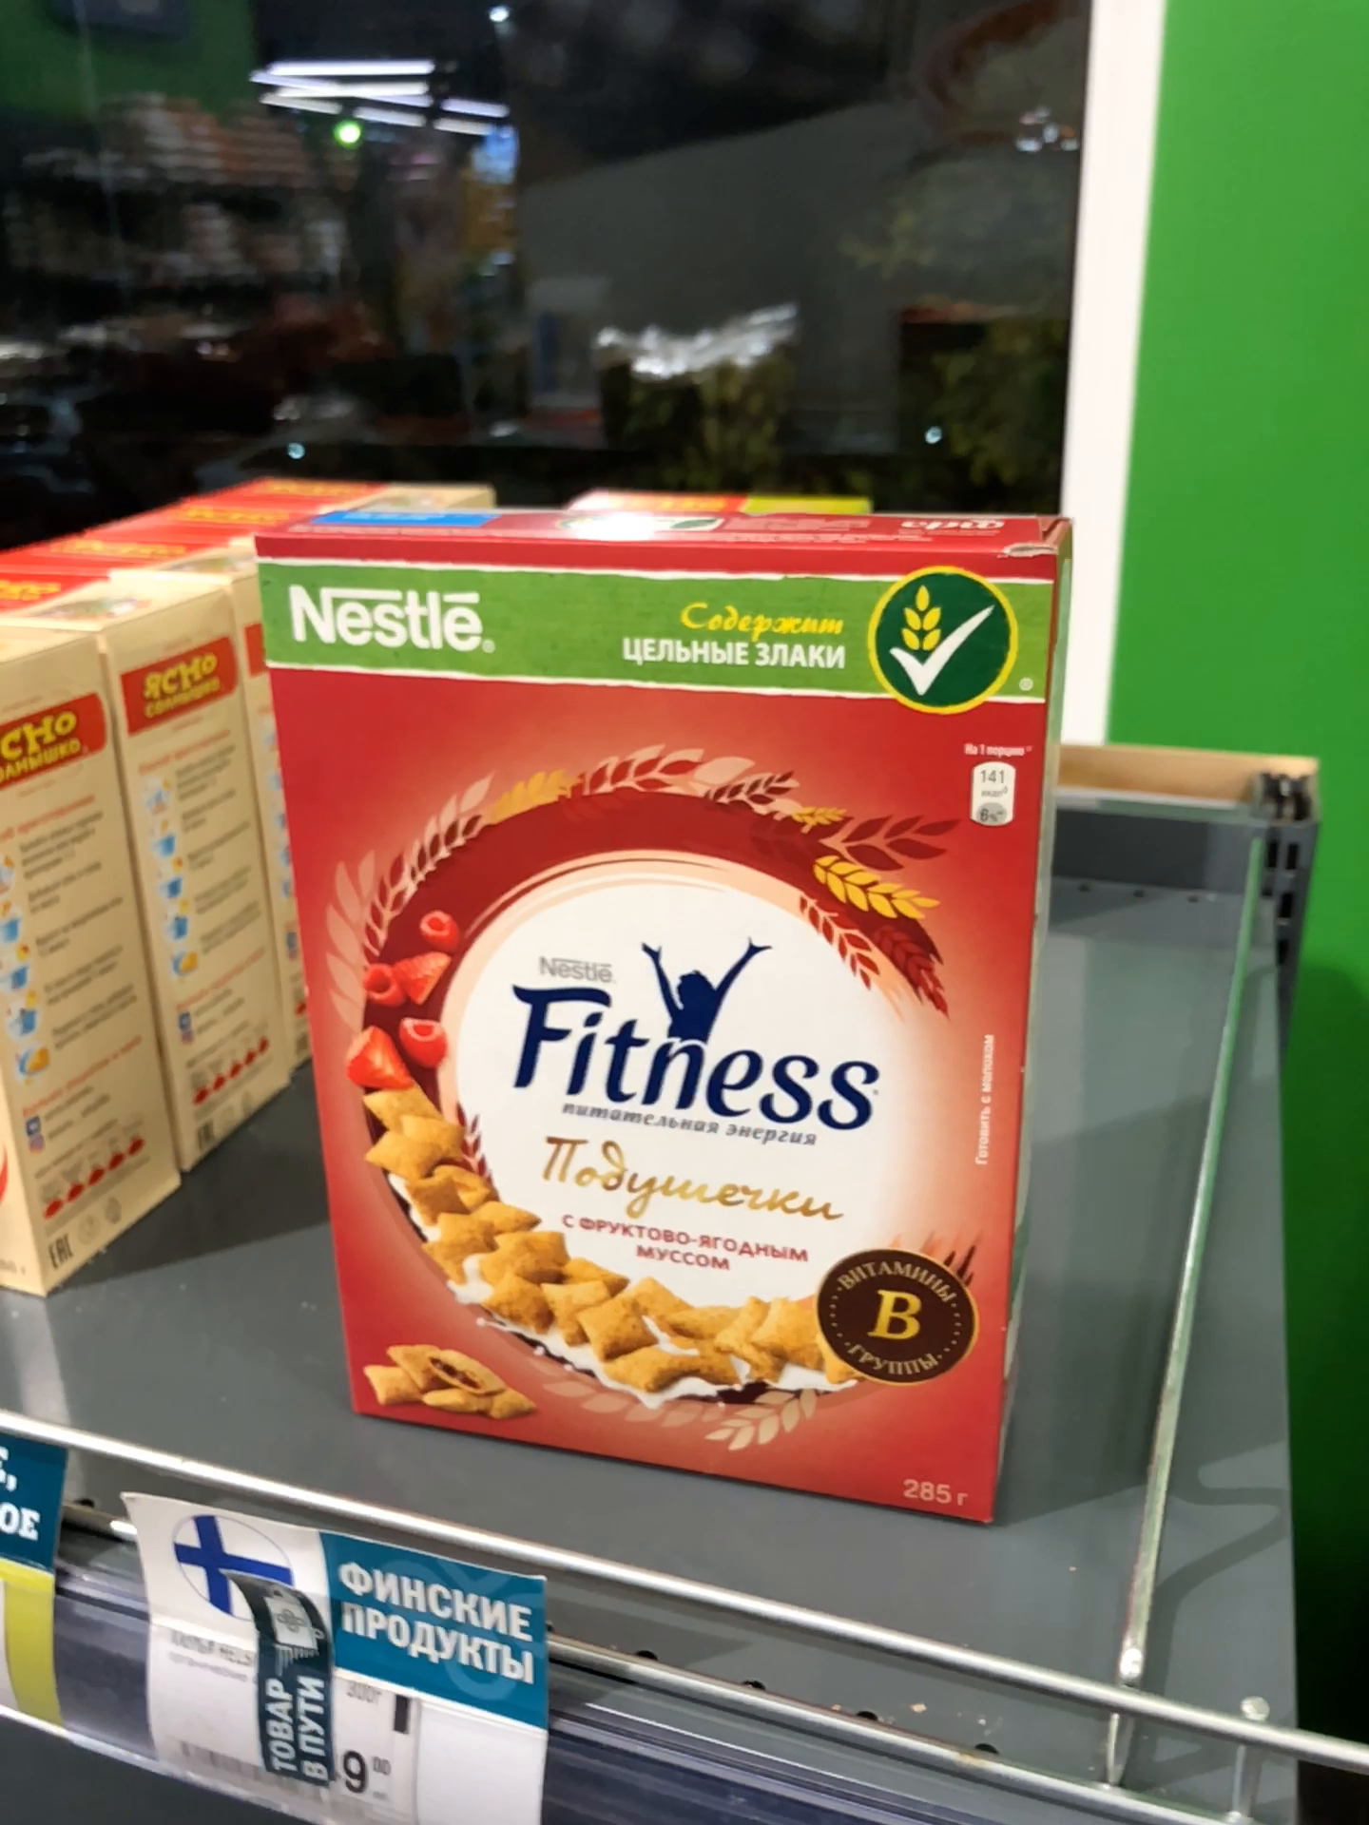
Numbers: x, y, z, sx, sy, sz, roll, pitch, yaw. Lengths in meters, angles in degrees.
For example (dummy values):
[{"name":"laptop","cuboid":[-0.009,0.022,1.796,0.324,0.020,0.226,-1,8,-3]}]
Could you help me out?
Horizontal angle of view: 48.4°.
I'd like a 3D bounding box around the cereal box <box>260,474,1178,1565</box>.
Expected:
[{"name":"cereal box","cuboid":[0.009,0.024,0.378,0.190,0.249,0.060,5,22,14]}]
